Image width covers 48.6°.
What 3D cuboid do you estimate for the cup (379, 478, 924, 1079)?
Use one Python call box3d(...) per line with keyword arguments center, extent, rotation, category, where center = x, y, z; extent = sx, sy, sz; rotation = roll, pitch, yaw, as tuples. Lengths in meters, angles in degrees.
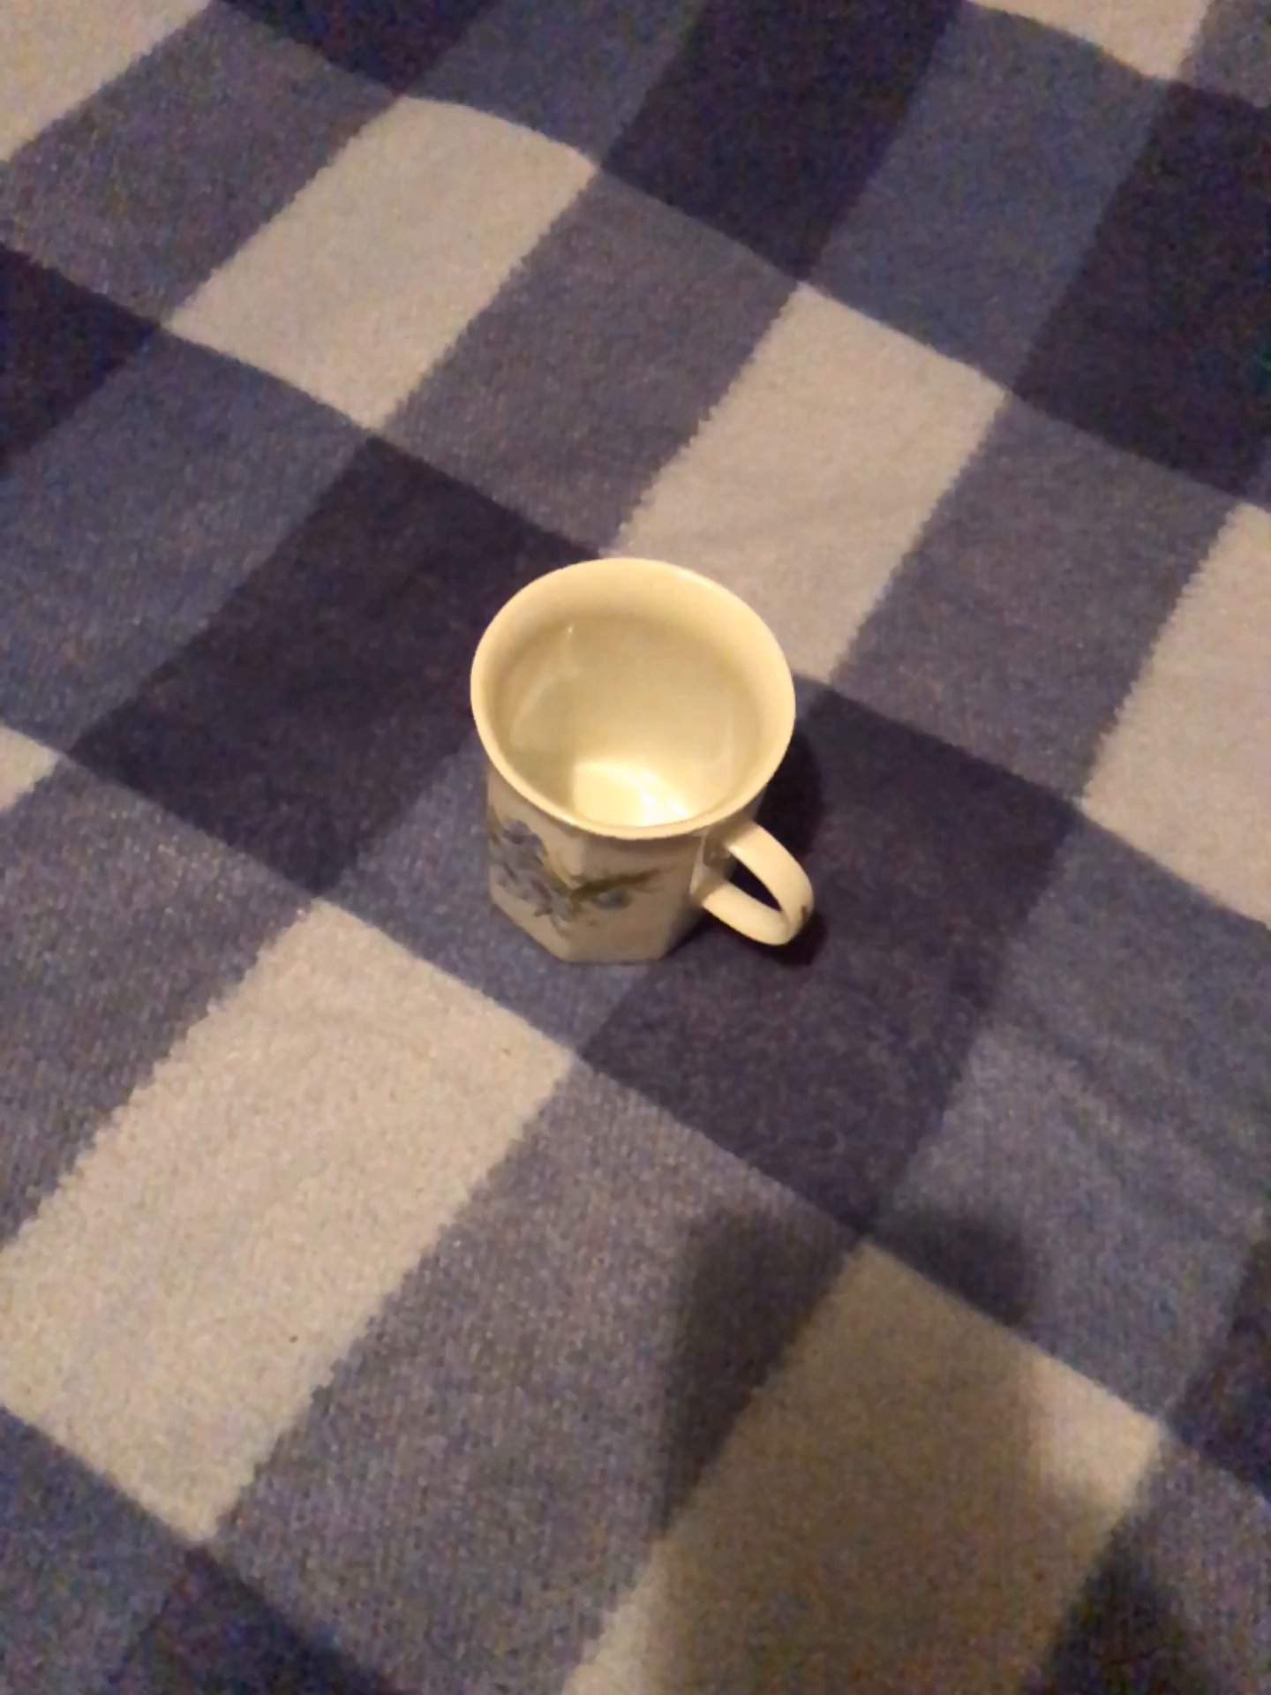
box3d(center=(0.001, -0.014, 0.362), extent=(0.077, 0.094, 0.098), rotation=(-41, 73, -19), category="cup")
